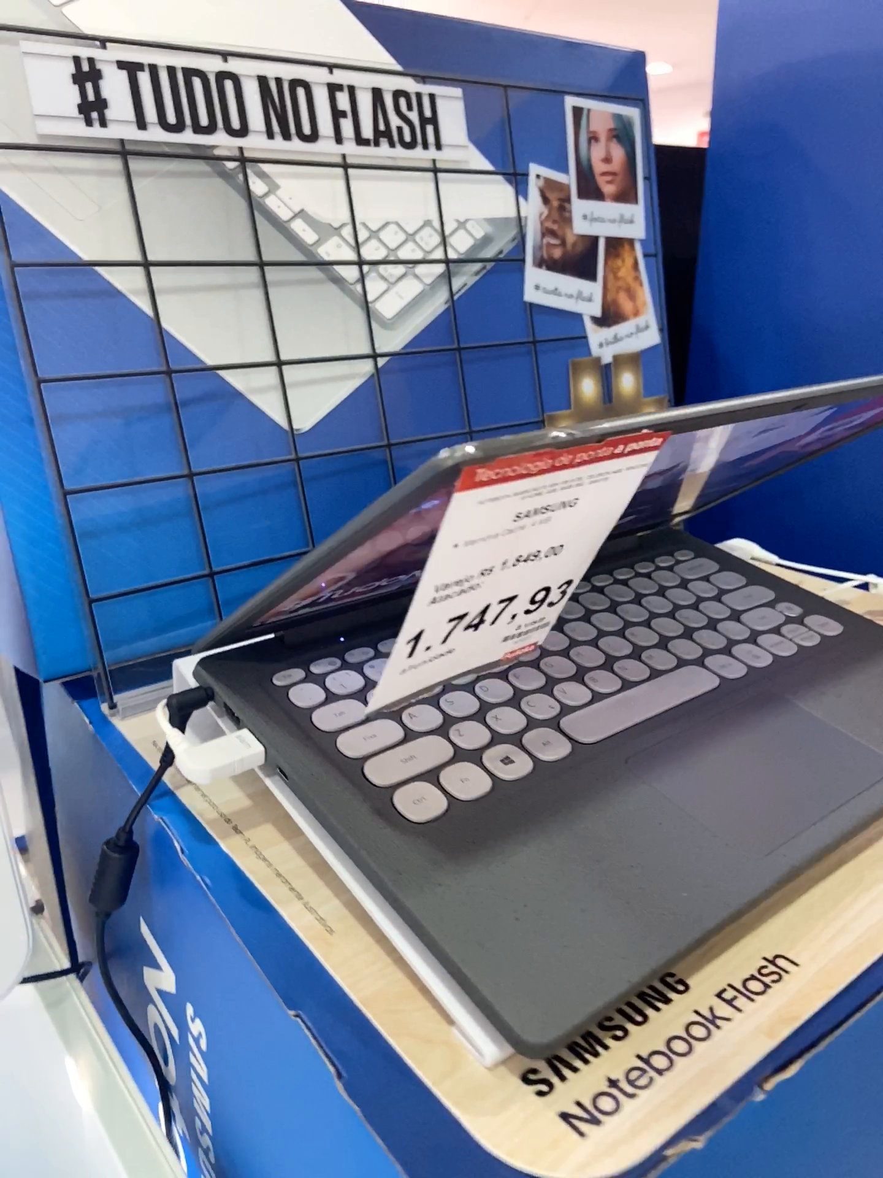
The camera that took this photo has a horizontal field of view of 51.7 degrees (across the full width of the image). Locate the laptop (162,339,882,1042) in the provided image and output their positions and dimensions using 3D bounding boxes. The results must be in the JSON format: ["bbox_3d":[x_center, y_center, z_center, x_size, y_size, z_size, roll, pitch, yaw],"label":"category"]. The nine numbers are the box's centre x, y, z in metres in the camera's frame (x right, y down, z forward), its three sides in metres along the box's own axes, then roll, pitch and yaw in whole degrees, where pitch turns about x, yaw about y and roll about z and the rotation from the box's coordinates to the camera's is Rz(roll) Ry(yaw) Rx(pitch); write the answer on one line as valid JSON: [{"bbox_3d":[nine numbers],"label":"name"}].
[{"bbox_3d":[0.086,-0.012,0.389,0.324,0.114,0.211,-15,32,-35],"label":"laptop"}]
